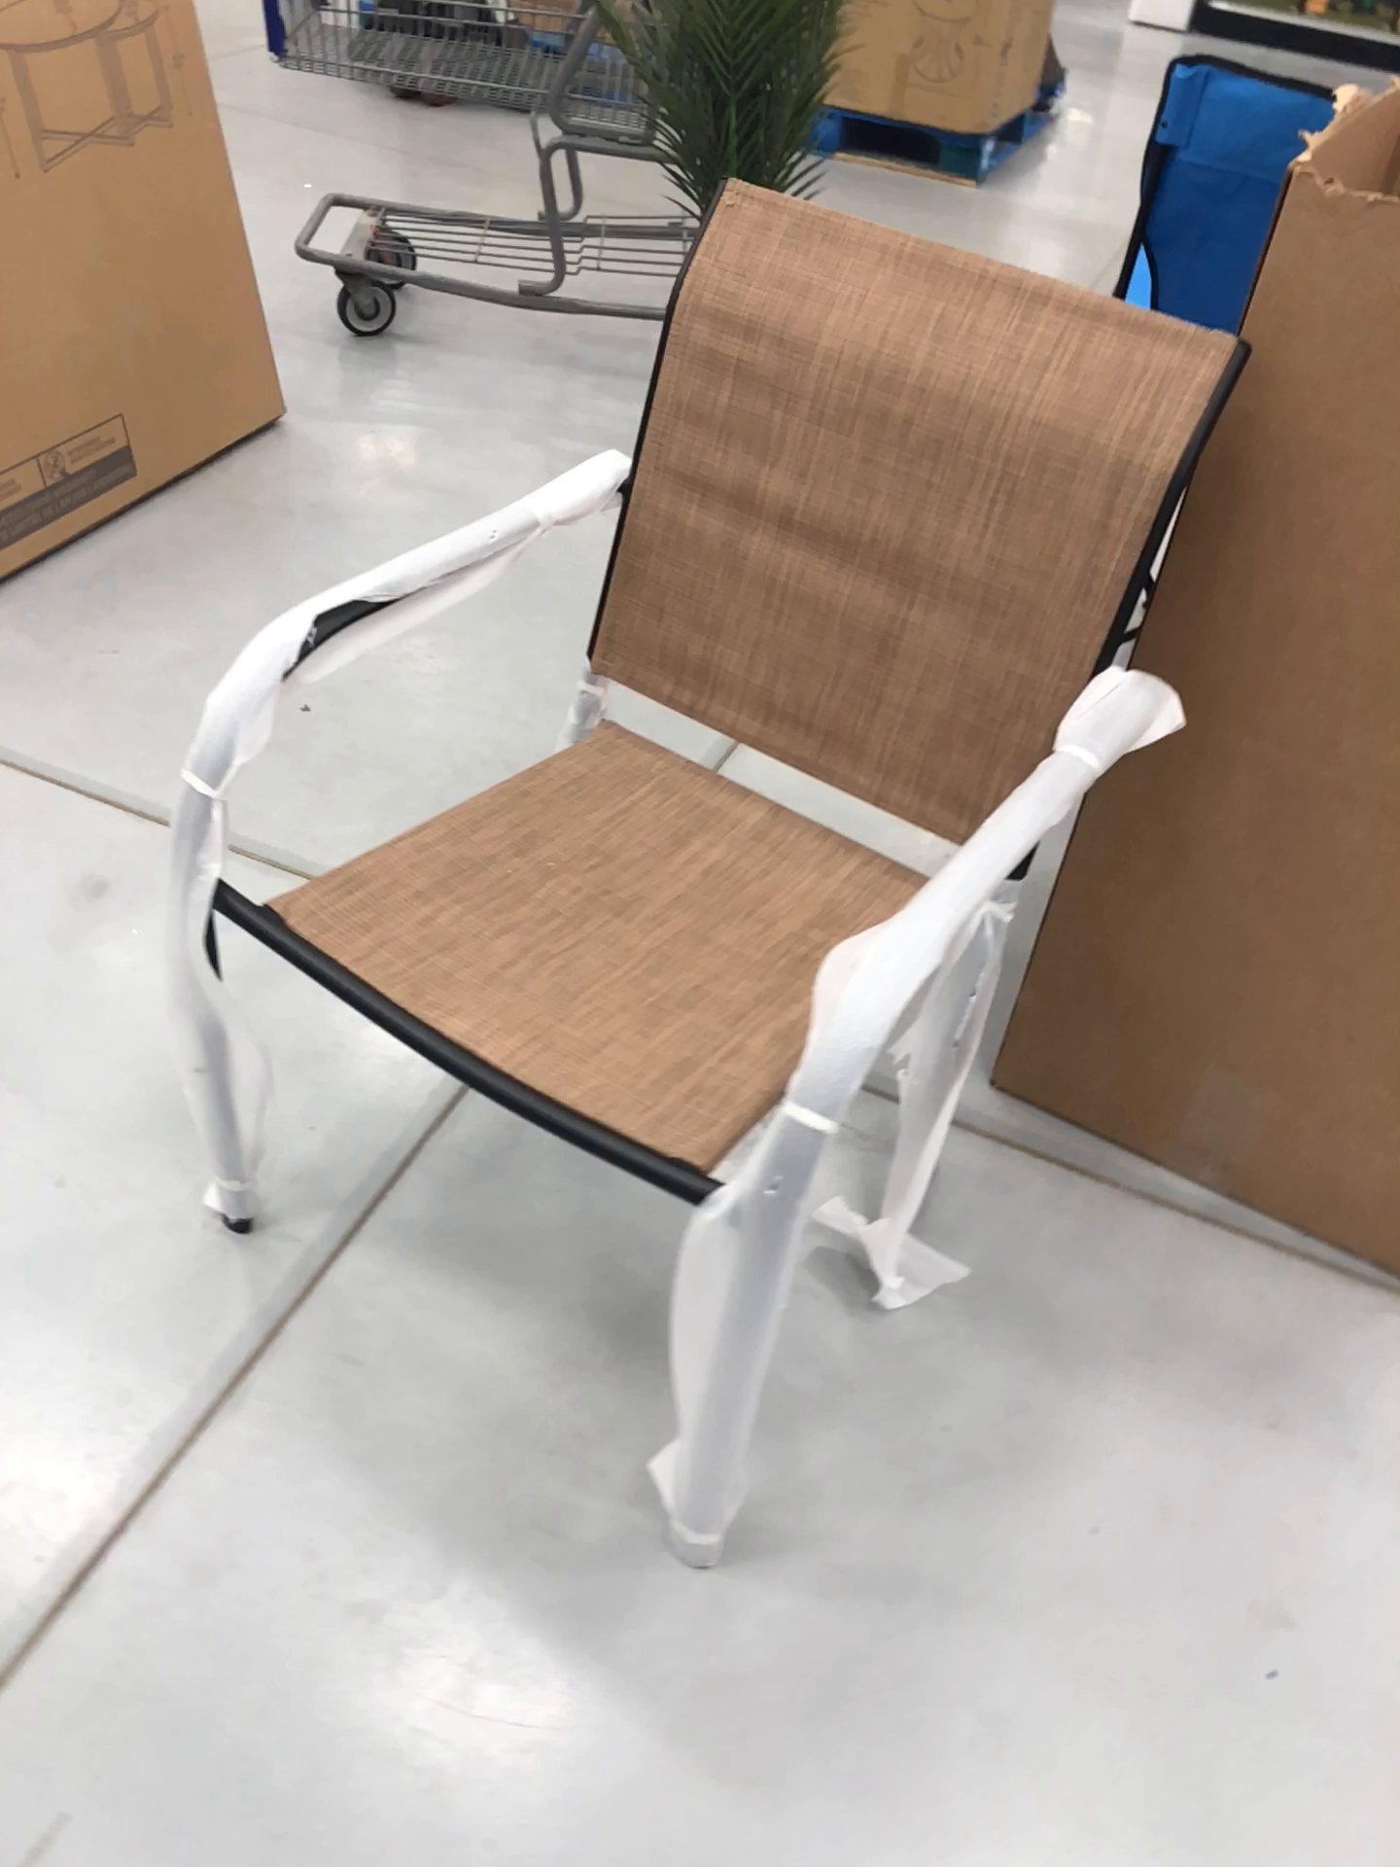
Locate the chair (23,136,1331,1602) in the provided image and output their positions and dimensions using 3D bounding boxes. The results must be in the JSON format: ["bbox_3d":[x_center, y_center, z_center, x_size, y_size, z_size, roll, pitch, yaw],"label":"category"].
[{"bbox_3d":[-0.021,-0.077,1.301,0.620,0.876,0.632,28,44,22],"label":"chair"}]
